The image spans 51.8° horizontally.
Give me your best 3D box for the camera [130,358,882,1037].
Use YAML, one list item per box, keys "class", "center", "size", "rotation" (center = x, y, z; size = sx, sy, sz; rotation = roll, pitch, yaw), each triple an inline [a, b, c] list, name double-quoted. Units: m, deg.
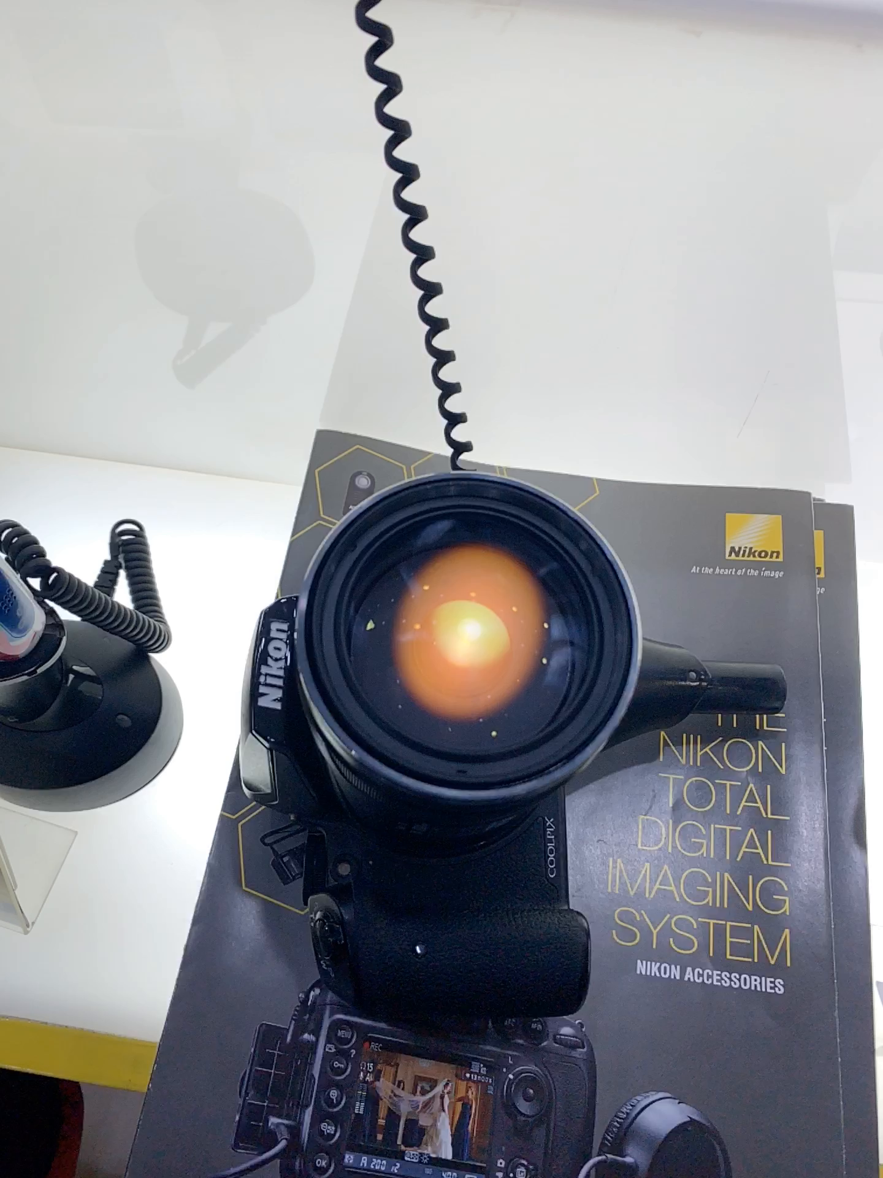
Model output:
- class: "camera"
  center: [0.040, 0.038, 0.239]
  size: [0.200, 0.100, 0.140]
  rotation: [4, 62, -8]
